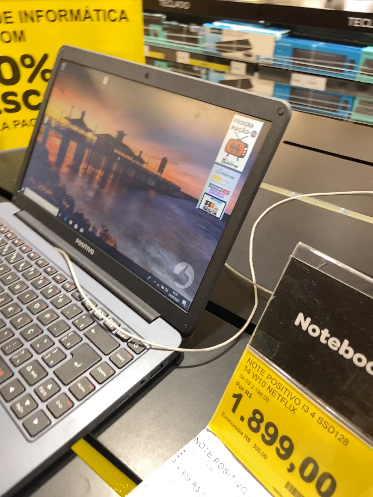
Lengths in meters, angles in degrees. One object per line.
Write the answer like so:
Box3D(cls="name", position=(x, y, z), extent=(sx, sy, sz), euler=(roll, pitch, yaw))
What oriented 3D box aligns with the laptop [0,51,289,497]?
Box3D(cls="laptop", position=(-0.158, -0.033, 0.345), extent=(0.332, 0.172, 0.342), euler=(31, 47, 34))
